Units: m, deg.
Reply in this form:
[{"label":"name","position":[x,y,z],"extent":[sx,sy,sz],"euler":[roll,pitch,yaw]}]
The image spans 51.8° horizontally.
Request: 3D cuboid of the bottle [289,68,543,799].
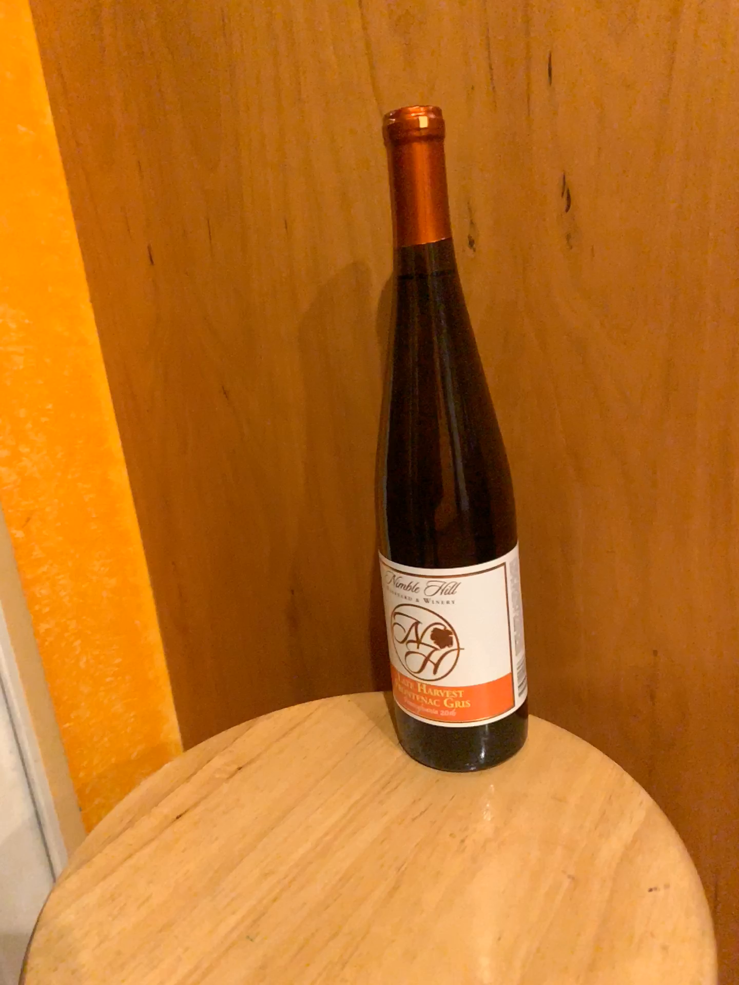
[{"label":"bottle","position":[0.031,-0.016,0.379],"extent":[0.080,0.329,0.060],"euler":[5,19,32]}]
